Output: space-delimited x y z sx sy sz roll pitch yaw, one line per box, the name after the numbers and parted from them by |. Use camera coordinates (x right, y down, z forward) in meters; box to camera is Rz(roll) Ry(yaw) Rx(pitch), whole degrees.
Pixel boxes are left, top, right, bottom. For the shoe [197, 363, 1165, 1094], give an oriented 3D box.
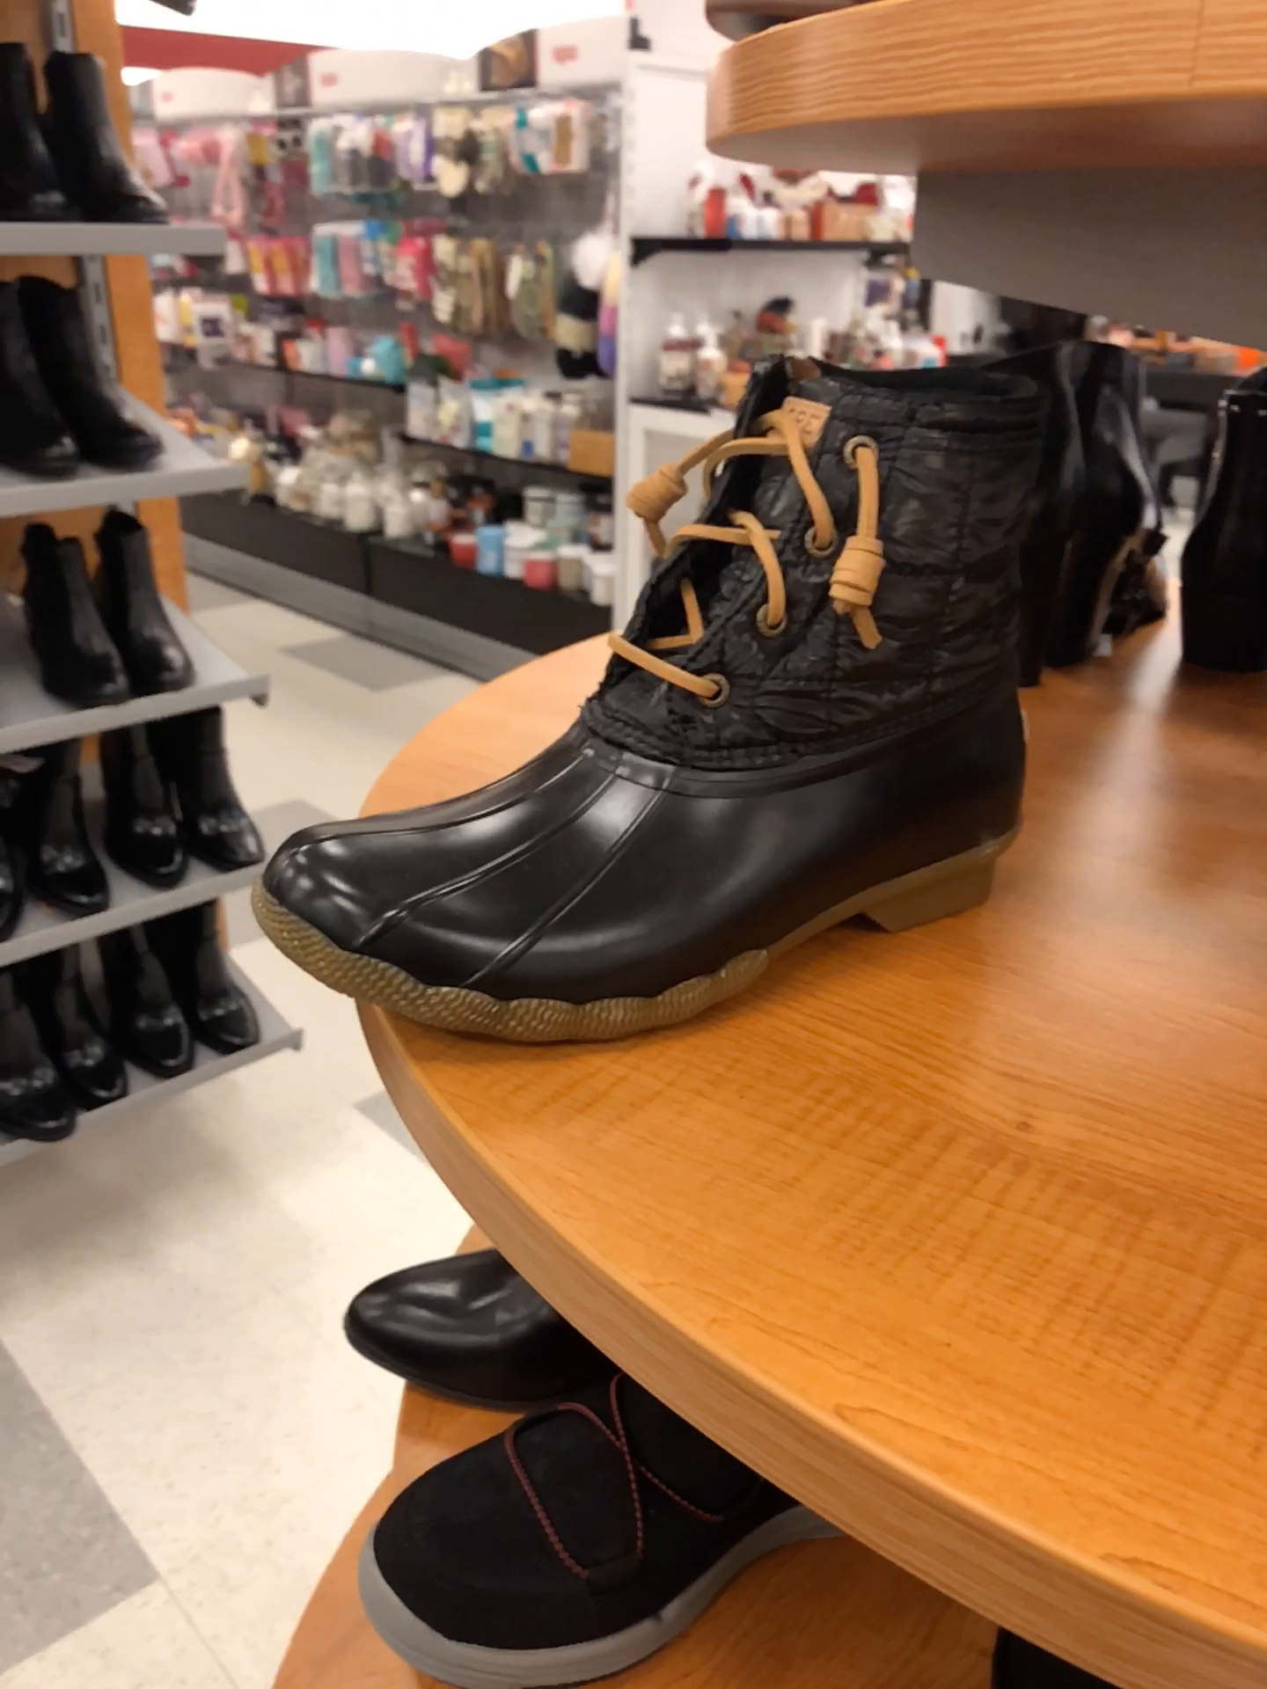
0.012 -0.050 0.398 0.231 0.157 0.113 -9 23 -23 | shoe
